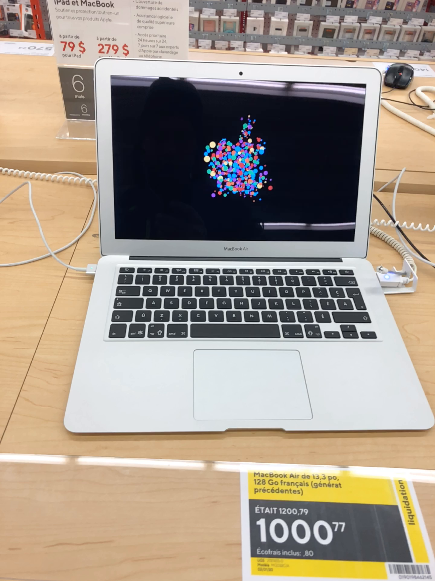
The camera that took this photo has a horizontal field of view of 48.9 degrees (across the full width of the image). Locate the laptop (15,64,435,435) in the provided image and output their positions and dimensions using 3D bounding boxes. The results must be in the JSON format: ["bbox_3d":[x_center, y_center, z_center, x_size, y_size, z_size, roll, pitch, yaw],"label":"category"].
[{"bbox_3d":[0.030,-0.062,0.455,0.305,0.186,0.326,0,41,-5],"label":"laptop"}]
